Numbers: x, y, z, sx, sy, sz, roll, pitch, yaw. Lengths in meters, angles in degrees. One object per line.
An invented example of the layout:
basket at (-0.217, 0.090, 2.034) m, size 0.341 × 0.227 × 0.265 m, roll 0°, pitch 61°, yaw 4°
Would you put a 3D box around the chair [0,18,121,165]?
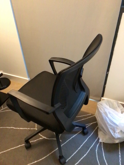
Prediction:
chair at (-0.086, 0.078, 1.215) m, size 0.791 × 0.992 × 0.836 m, roll 20°, pitch 43°, yaw 25°
